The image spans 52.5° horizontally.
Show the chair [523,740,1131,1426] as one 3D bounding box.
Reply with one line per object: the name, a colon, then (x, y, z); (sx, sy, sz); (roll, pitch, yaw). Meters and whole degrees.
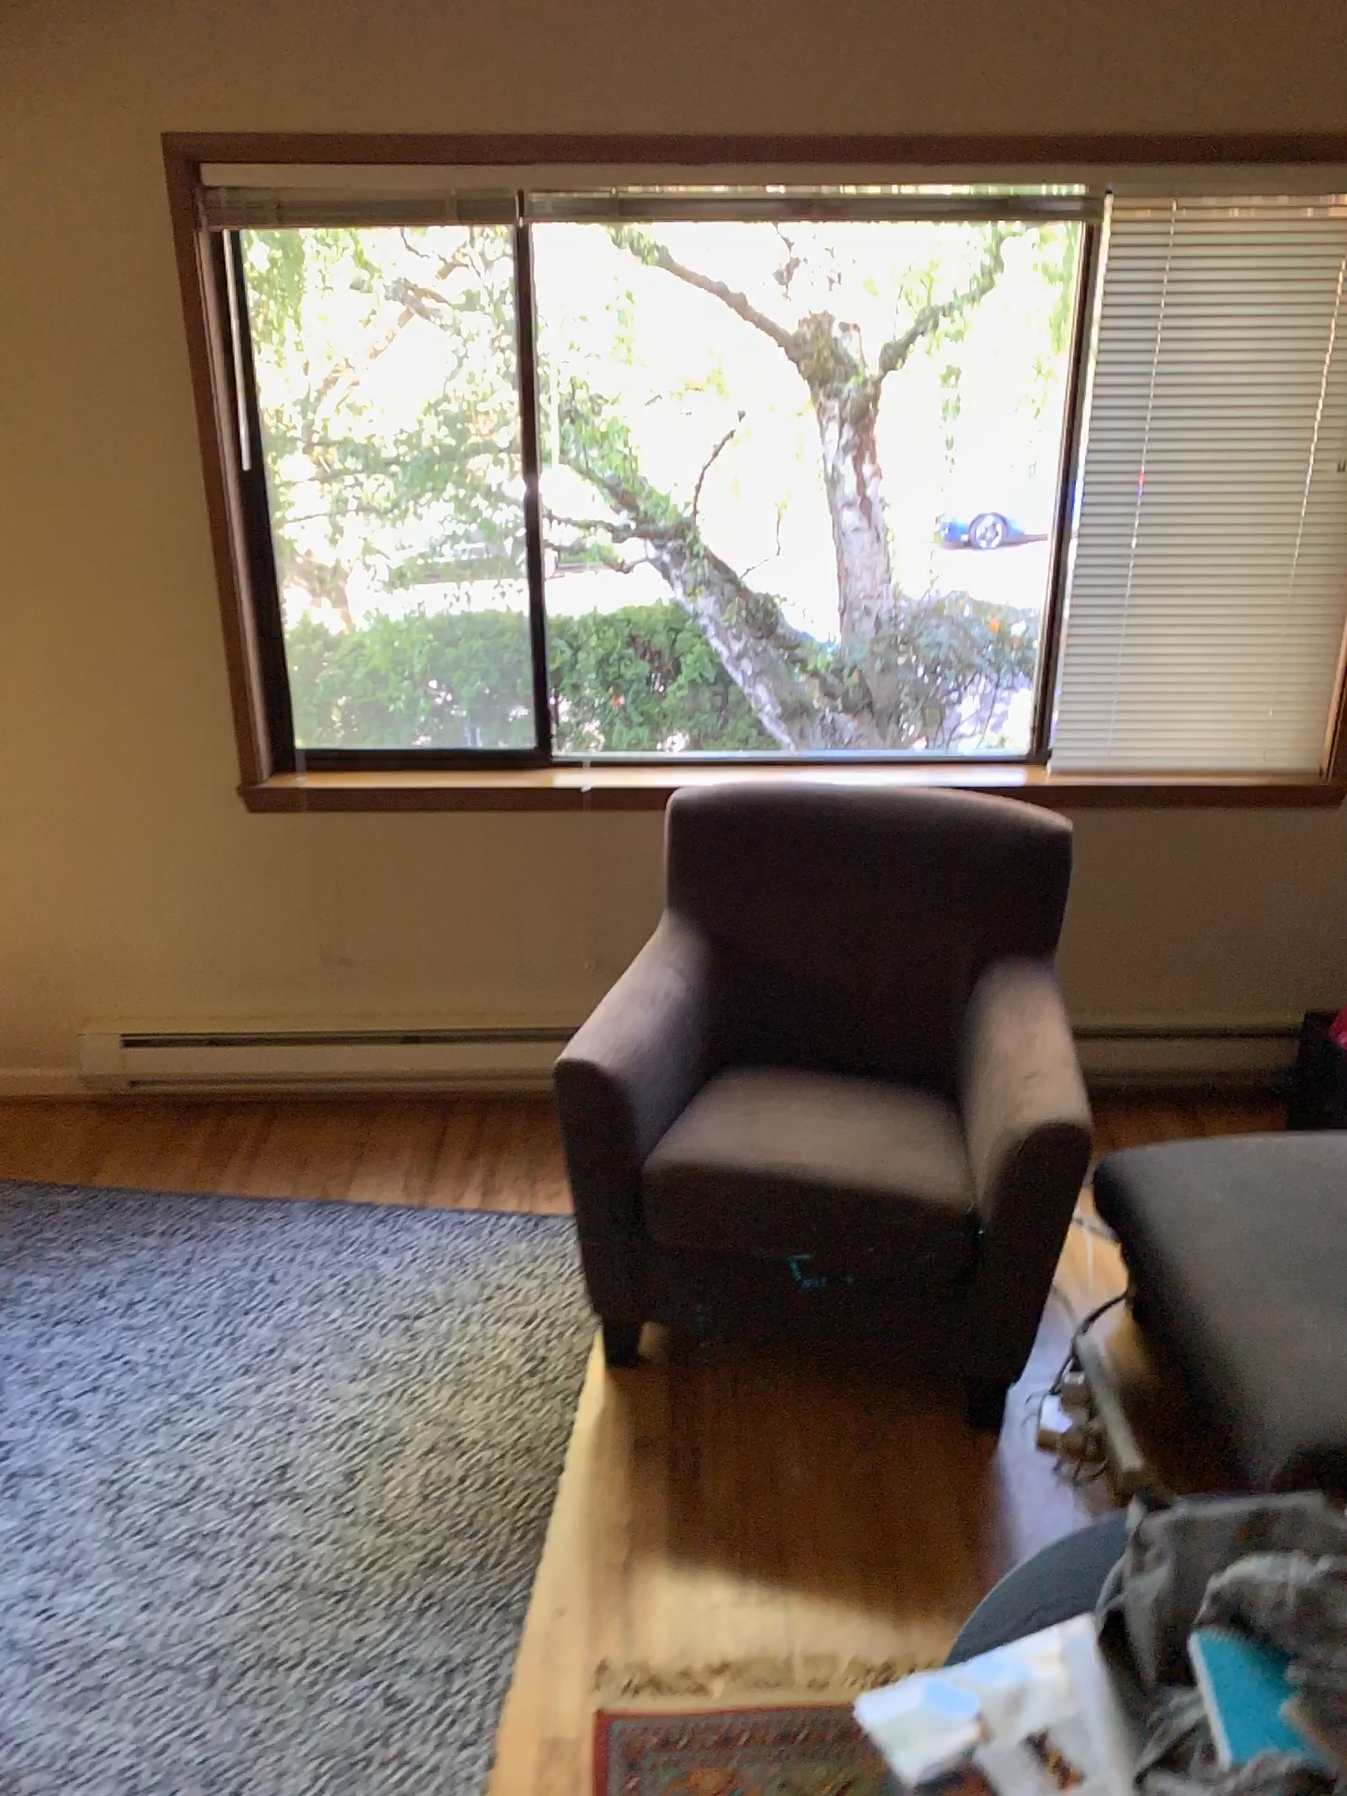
chair: (0.286, 0.256, 2.484); (0.881, 0.876, 0.803); (5, 19, 12)
